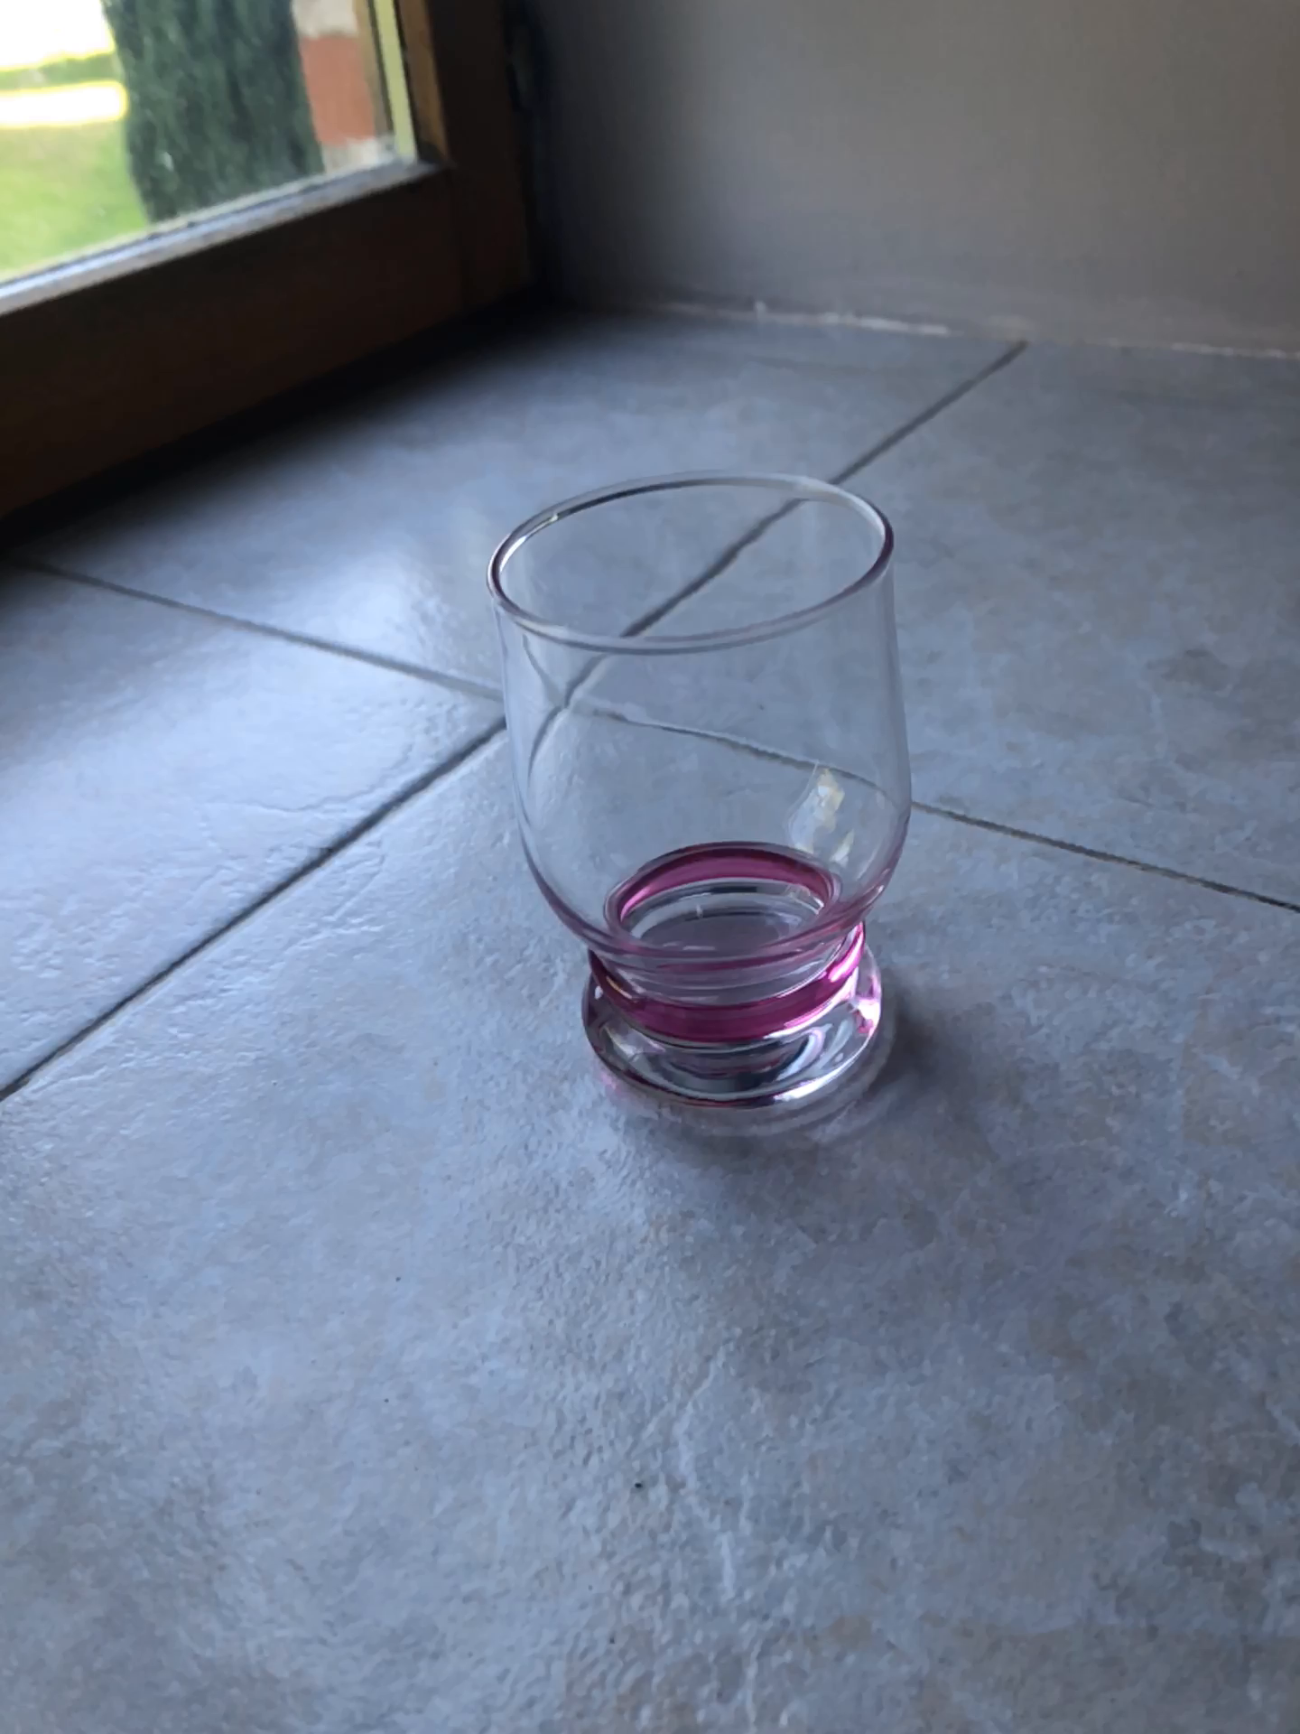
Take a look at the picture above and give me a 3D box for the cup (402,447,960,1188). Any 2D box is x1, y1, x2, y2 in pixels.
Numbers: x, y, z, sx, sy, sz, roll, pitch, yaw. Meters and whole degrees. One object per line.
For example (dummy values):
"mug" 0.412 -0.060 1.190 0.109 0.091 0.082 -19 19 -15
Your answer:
"cup" 0.006 -0.010 0.264 0.079 0.101 0.079 -3 35 2
